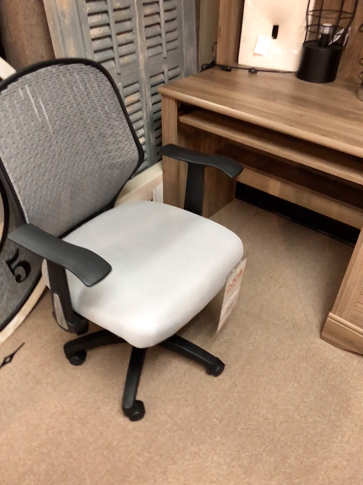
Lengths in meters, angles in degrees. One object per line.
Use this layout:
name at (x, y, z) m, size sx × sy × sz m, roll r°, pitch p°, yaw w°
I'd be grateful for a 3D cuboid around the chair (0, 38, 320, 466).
chair at (-0.129, -0.018, 1.146) m, size 0.672 × 0.864 × 0.612 m, roll 24°, pitch 43°, yaw 27°
